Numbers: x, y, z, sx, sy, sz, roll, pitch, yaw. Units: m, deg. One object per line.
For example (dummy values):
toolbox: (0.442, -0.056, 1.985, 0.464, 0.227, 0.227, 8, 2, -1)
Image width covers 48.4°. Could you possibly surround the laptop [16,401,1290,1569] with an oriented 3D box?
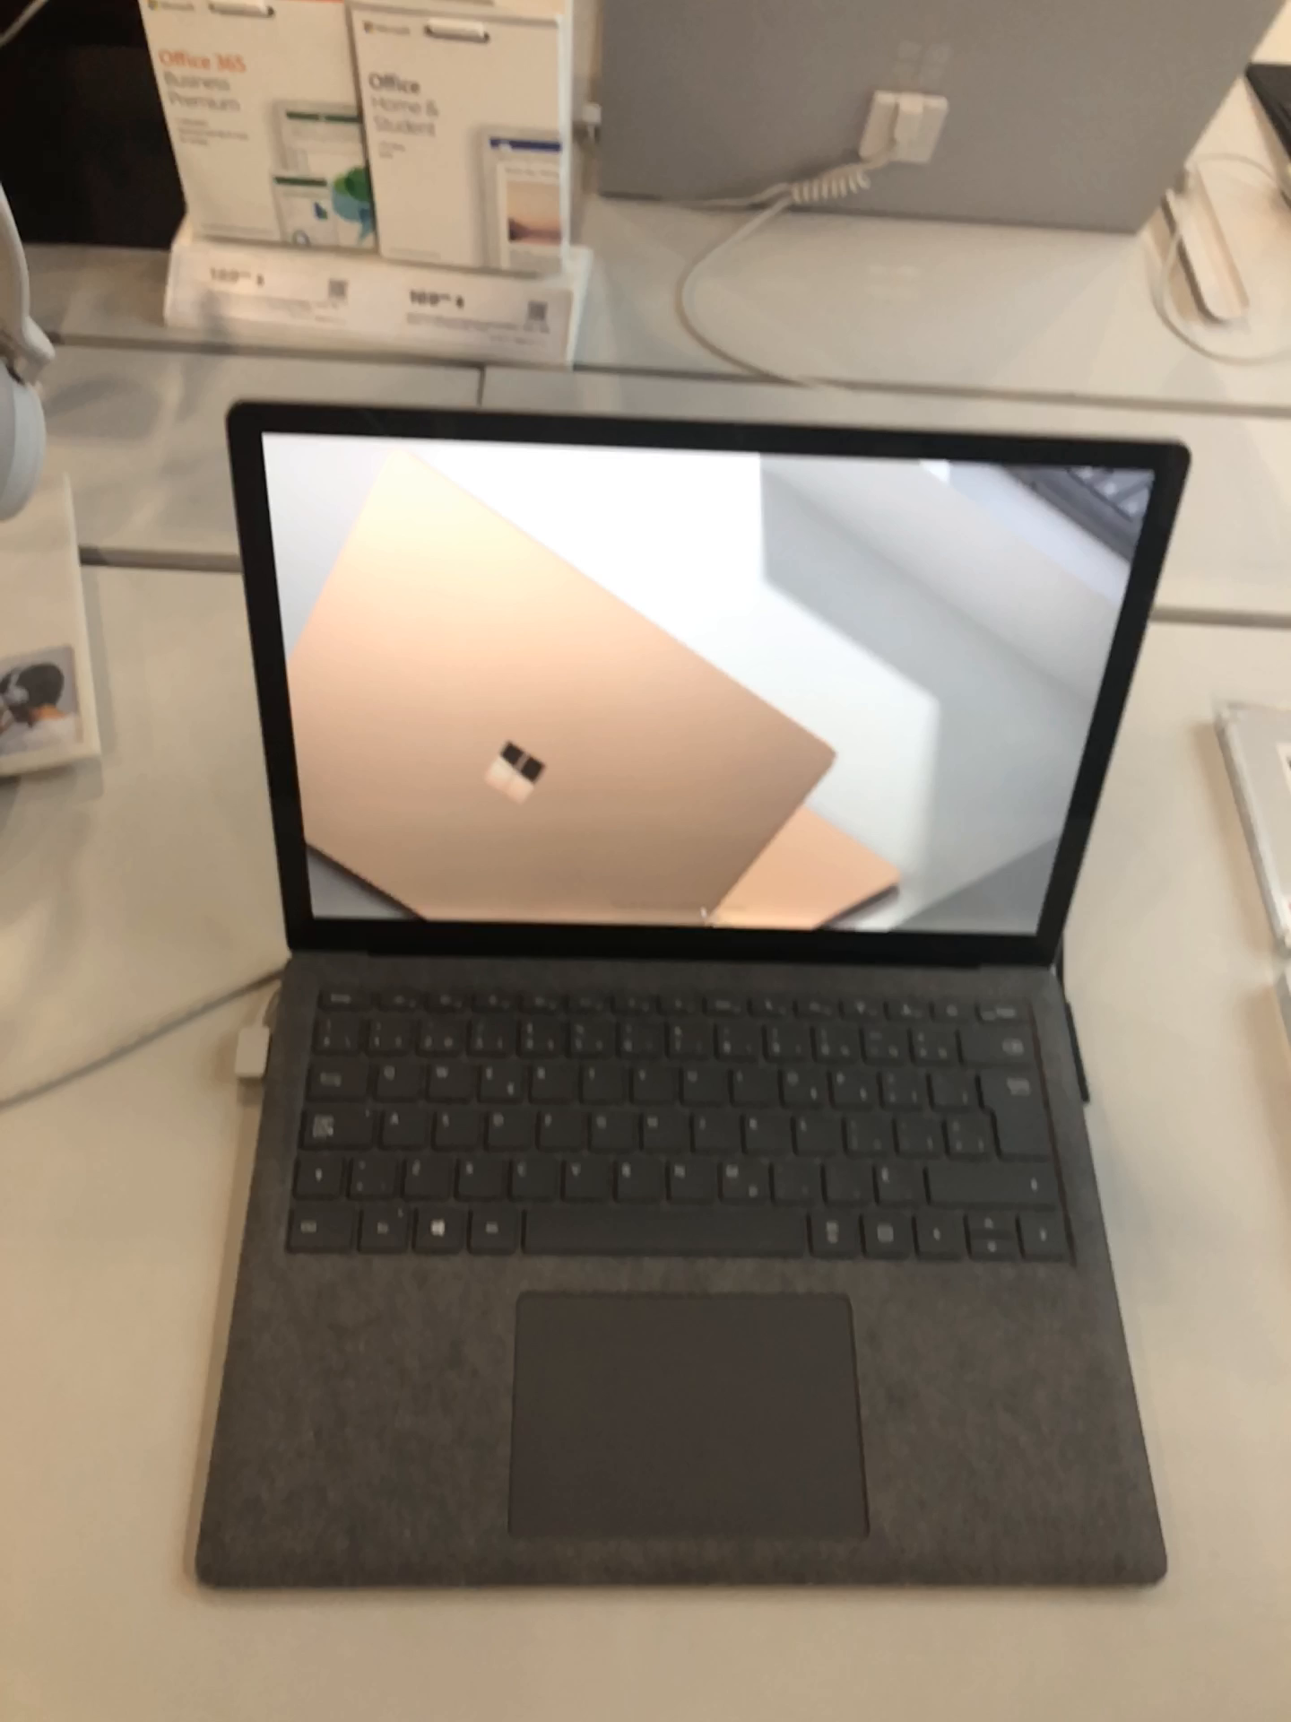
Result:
laptop: (0.018, 0.042, 0.449, 0.297, 0.197, 0.295, 1, 56, -3)
